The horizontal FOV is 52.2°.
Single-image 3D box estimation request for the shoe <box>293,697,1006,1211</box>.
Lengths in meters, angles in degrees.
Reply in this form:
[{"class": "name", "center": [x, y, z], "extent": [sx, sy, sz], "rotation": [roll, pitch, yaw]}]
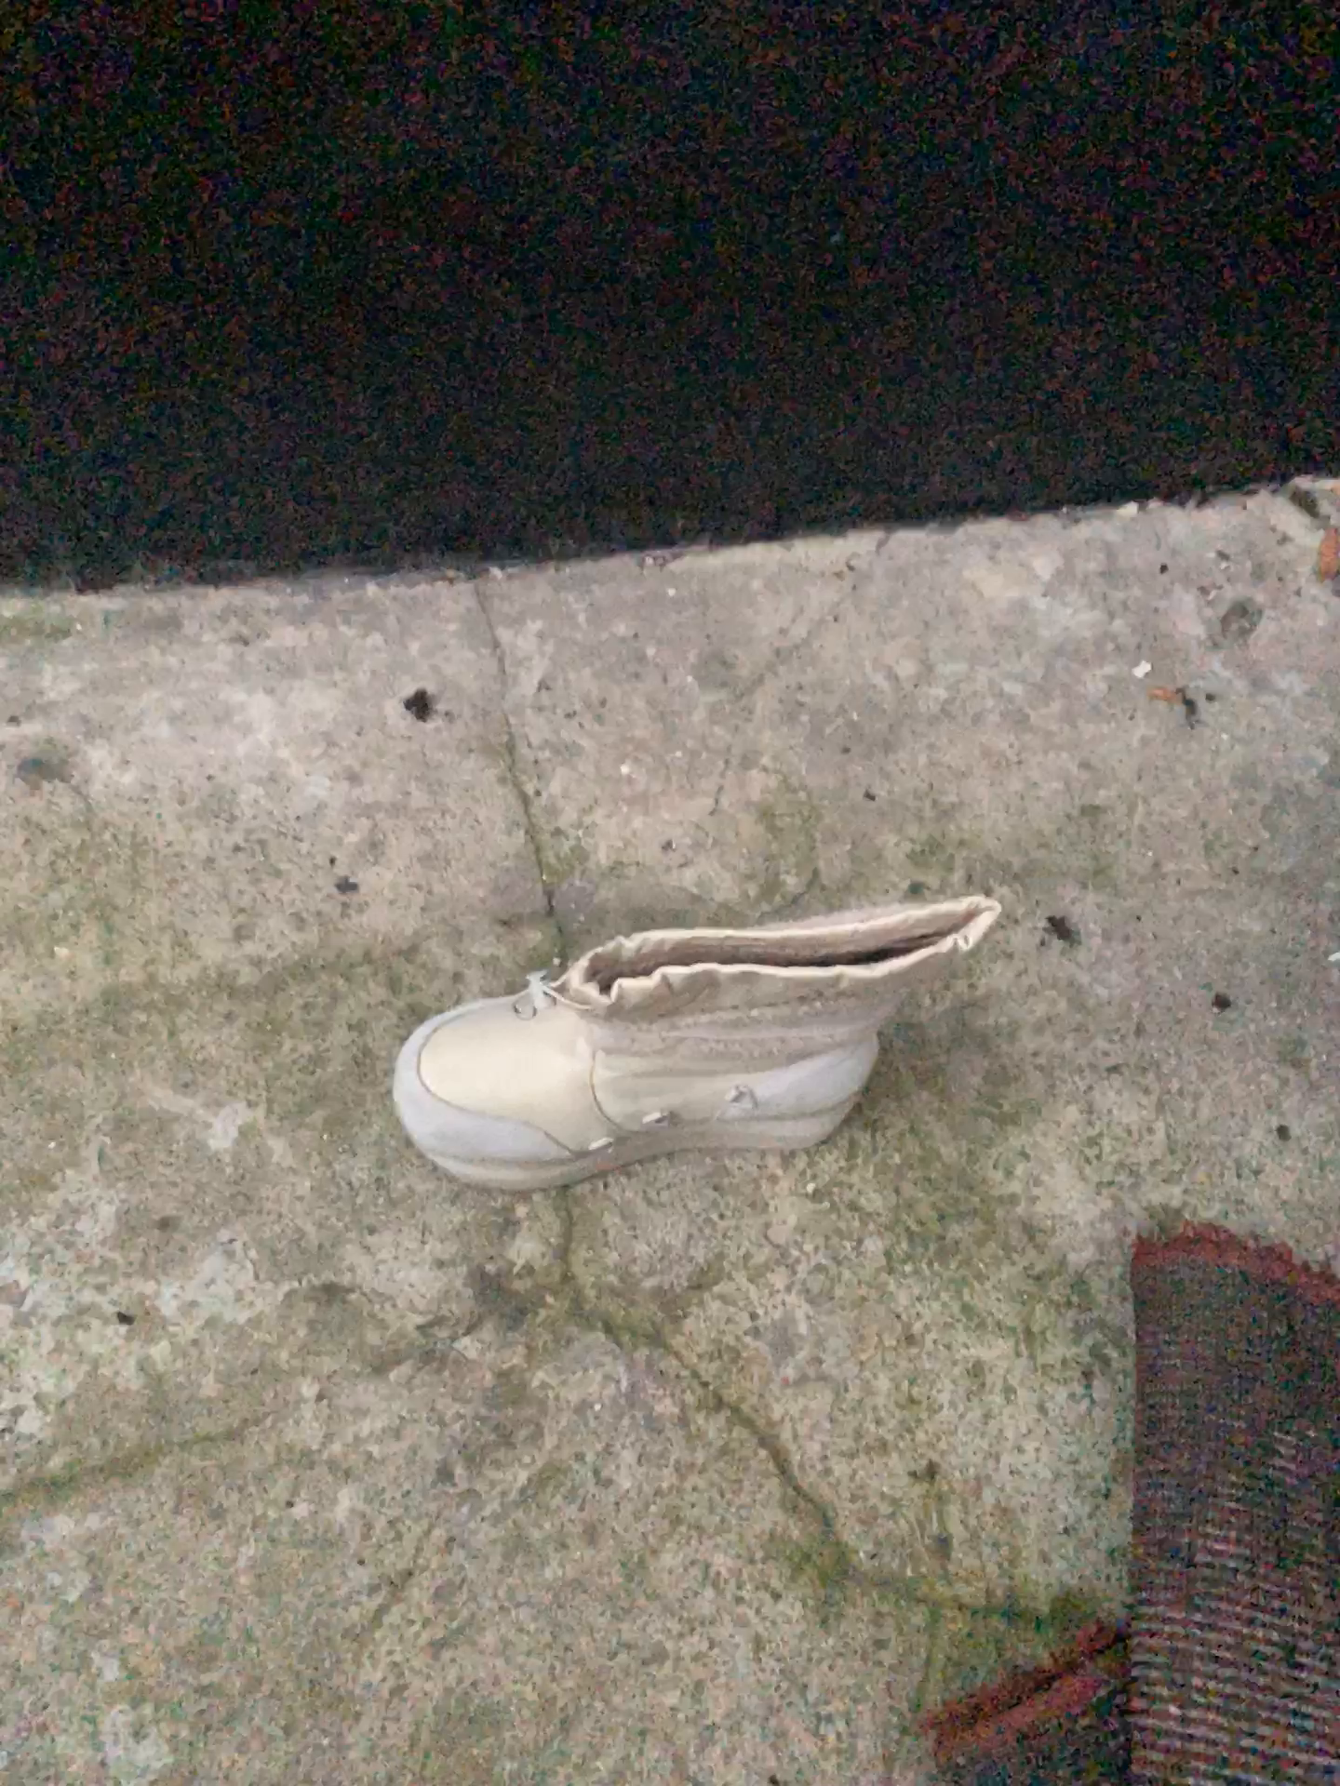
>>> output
[{"class": "shoe", "center": [-0.017, 0.048, 0.674], "extent": [0.270, 0.298, 0.111], "rotation": [-6, 63, -6]}]
